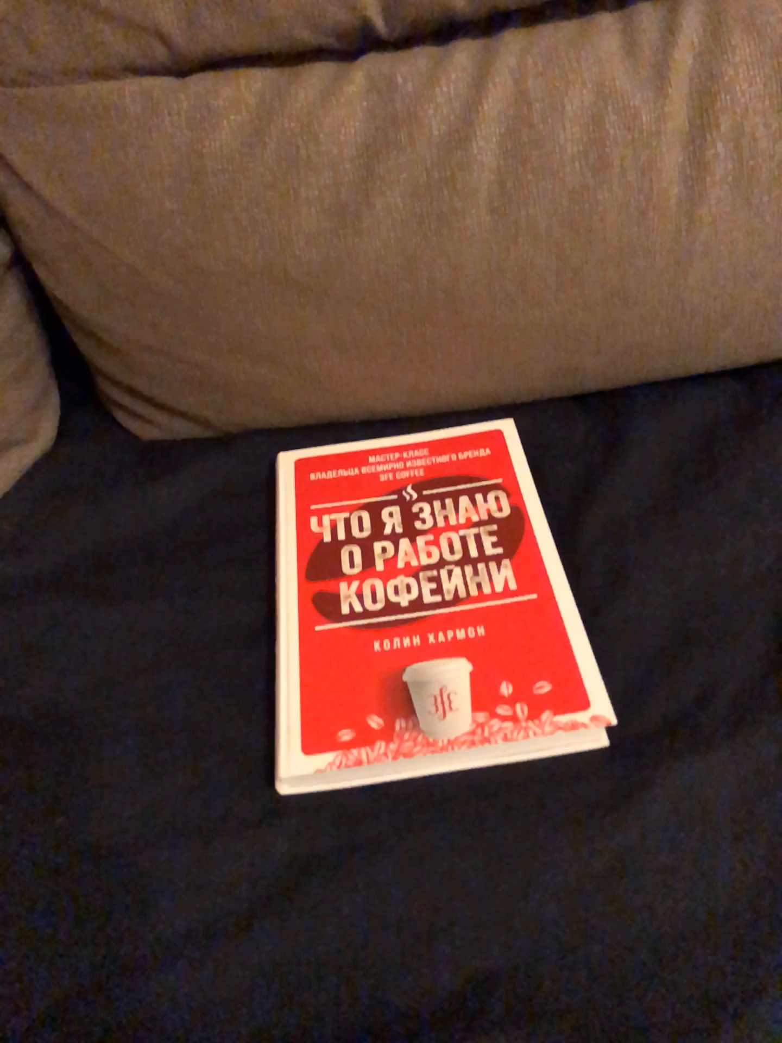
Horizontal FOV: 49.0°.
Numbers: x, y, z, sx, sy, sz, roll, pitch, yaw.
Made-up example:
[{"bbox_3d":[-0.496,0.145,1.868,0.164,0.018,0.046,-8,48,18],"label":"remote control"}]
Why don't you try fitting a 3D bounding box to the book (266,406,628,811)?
[{"bbox_3d":[0.013,0.028,0.443,0.153,0.020,0.223,-9,45,1],"label":"book"}]
